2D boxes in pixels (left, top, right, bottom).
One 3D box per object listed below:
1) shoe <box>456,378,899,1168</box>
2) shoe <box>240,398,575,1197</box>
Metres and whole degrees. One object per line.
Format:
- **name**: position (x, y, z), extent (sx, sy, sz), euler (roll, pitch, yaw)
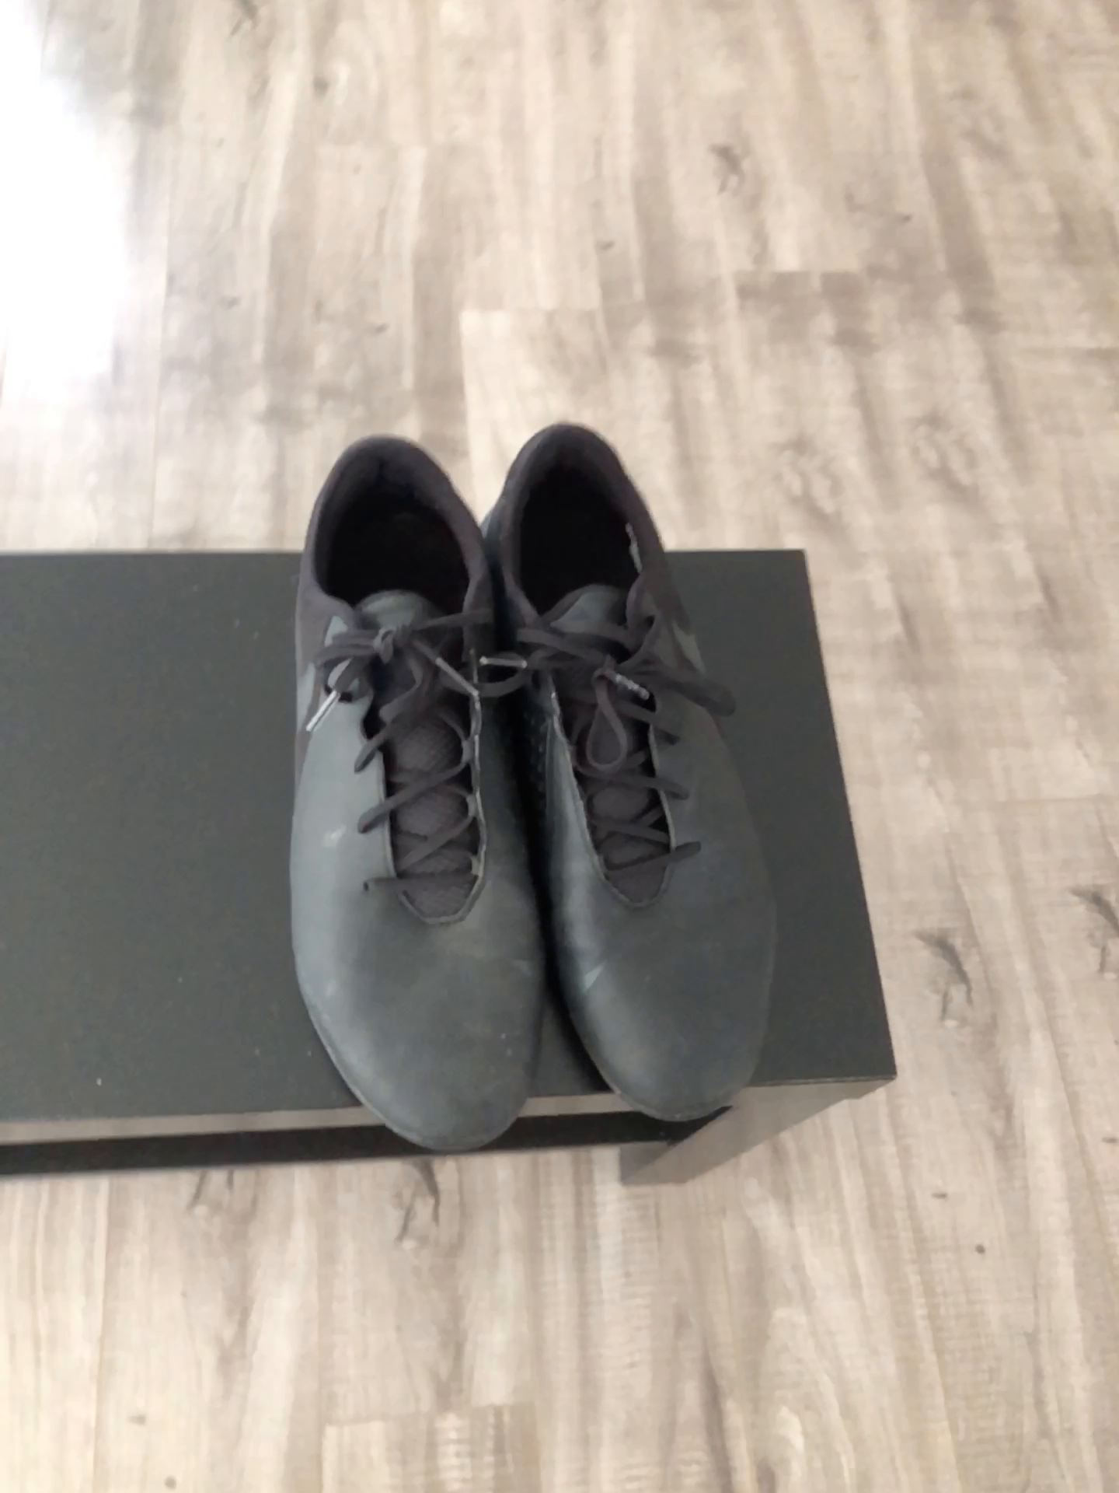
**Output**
- **shoe**: position (0.030, 0.005, 0.506), extent (0.100, 0.110, 0.294), euler (-7, 65, -9)
- **shoe**: position (-0.068, 0.014, 0.496), extent (0.100, 0.110, 0.294), euler (-4, 65, -8)
